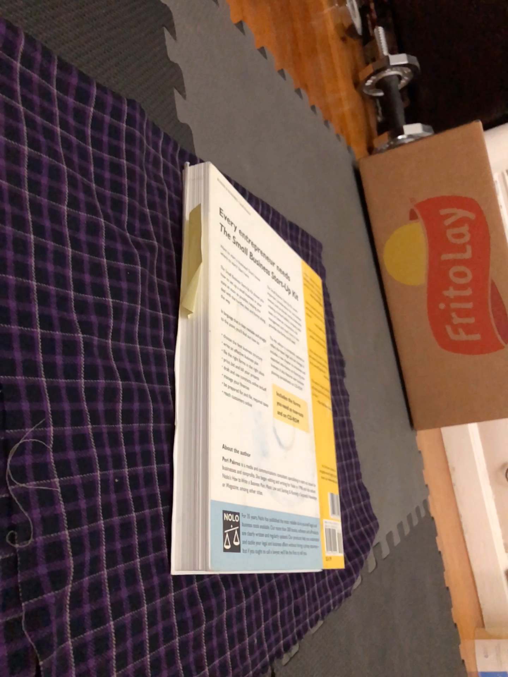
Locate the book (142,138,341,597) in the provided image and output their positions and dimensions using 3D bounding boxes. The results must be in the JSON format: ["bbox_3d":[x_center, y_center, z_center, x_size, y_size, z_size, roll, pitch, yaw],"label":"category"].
[{"bbox_3d":[0.001,0.034,0.459,0.231,0.030,0.311,35,47,-54],"label":"book"}]
